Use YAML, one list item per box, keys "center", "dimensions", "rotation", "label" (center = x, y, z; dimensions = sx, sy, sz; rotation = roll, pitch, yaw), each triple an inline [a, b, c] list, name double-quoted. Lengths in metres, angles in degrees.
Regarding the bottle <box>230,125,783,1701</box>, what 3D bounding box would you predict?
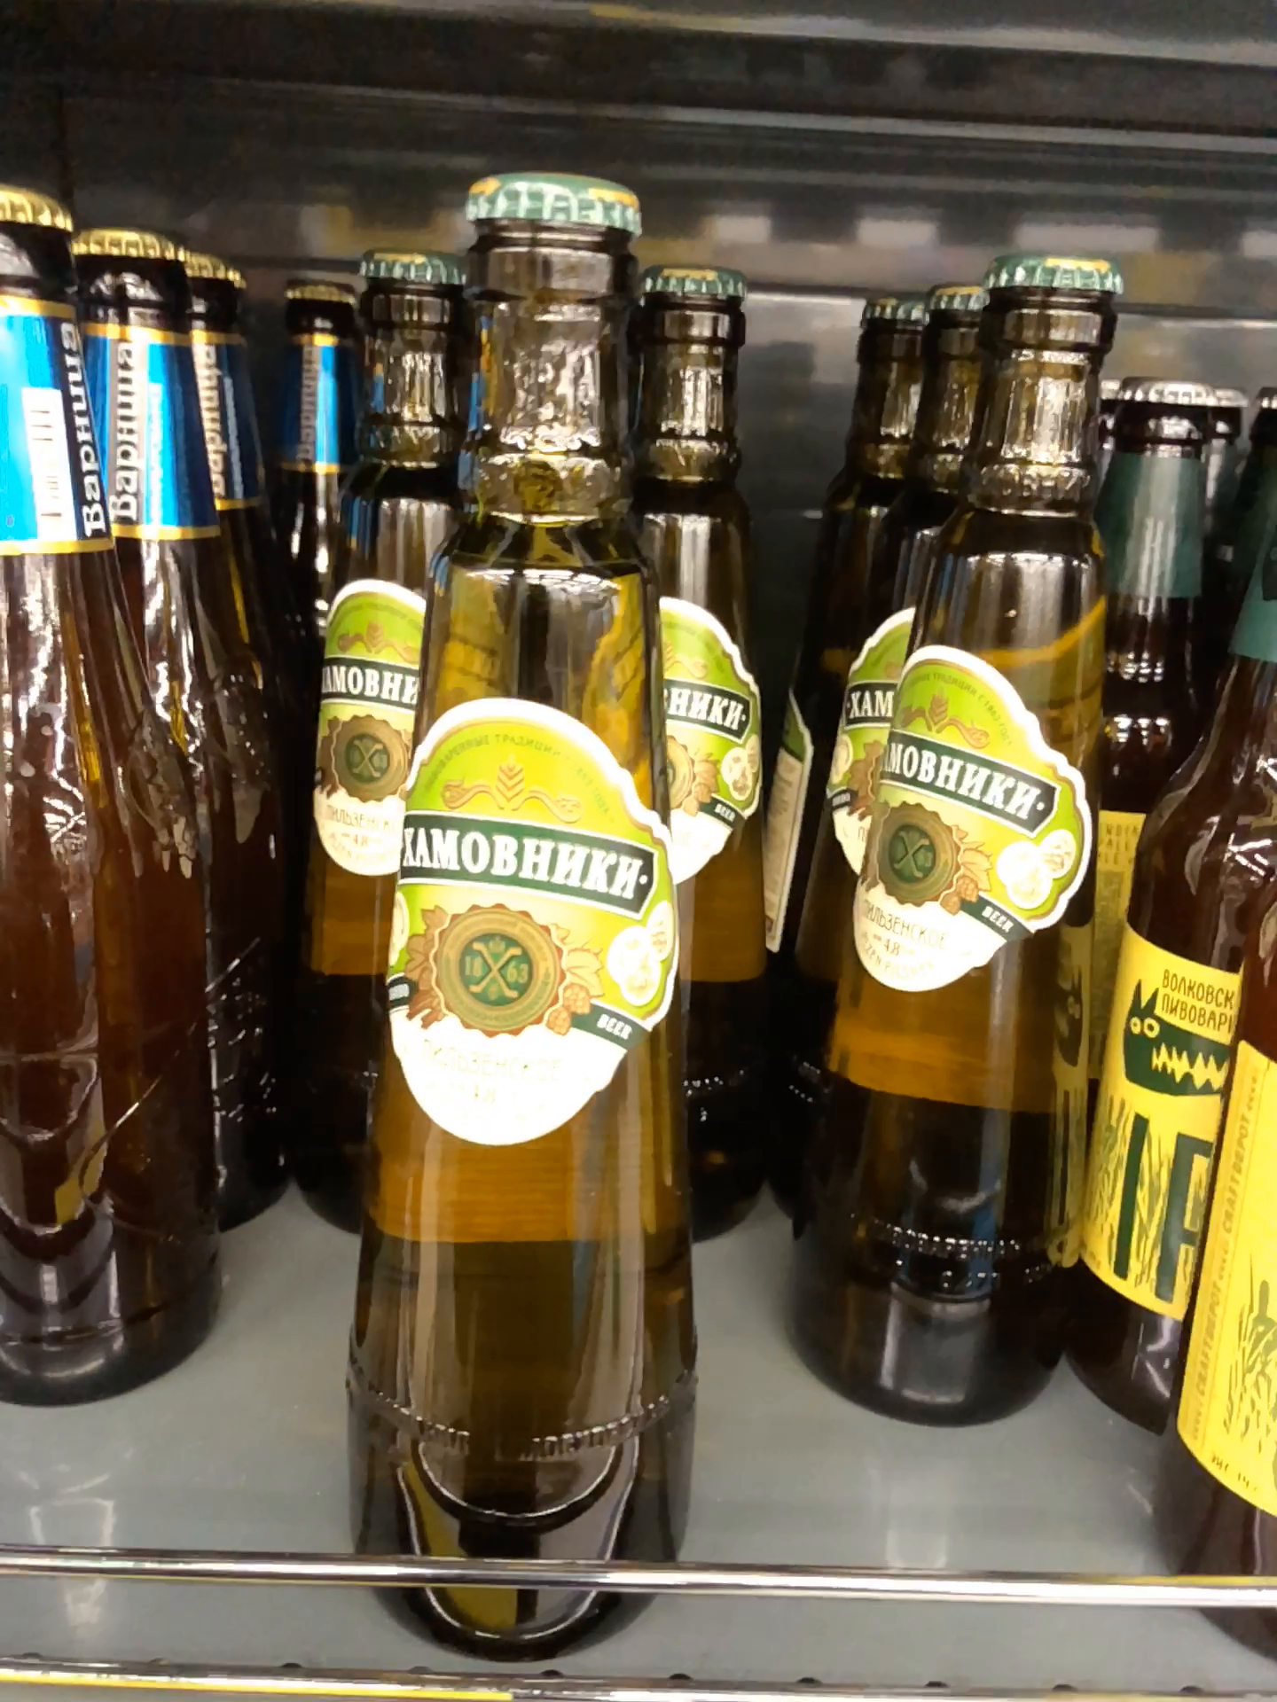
- center: [-0.021, 0.019, 0.257]
  dimensions: [0.070, 0.261, 0.070]
  rotation: [2, 17, -1]
  label: "bottle"
